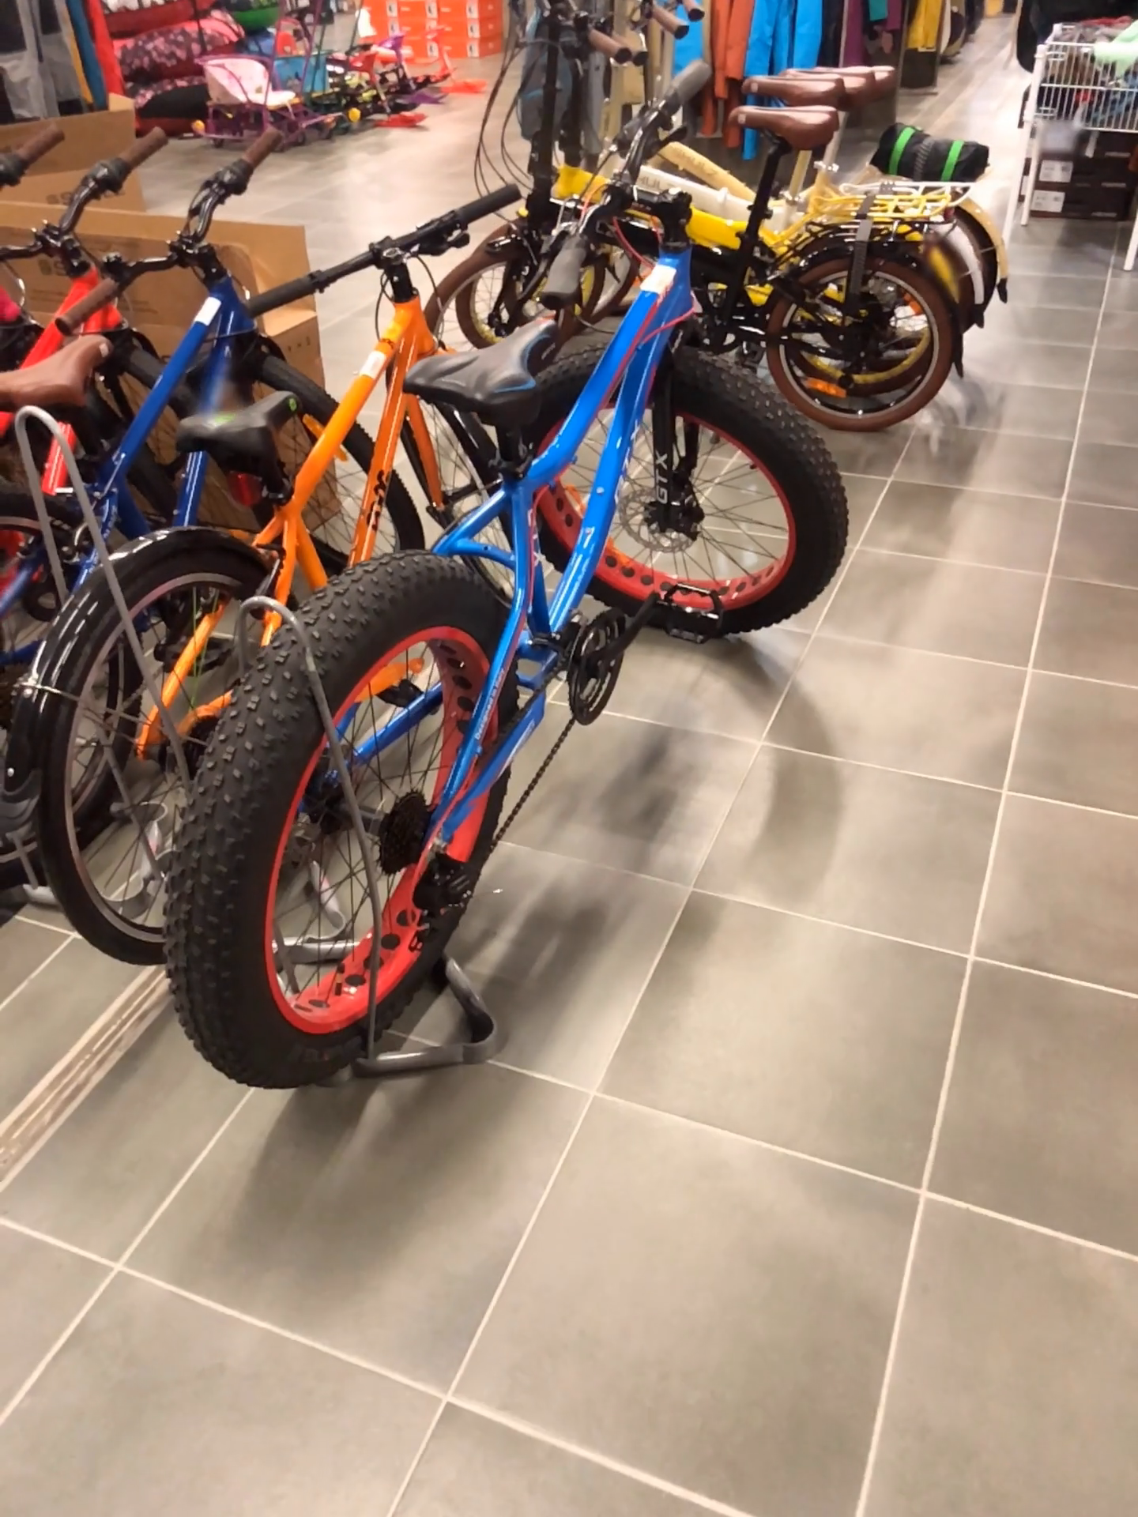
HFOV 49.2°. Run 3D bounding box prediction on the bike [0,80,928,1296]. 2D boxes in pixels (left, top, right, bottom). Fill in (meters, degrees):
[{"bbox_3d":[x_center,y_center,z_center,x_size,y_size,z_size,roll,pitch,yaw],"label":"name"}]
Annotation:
[{"bbox_3d":[0.001,-0.275,1.714,0.614,1.023,1.474,11,36,18],"label":"bike"}]
